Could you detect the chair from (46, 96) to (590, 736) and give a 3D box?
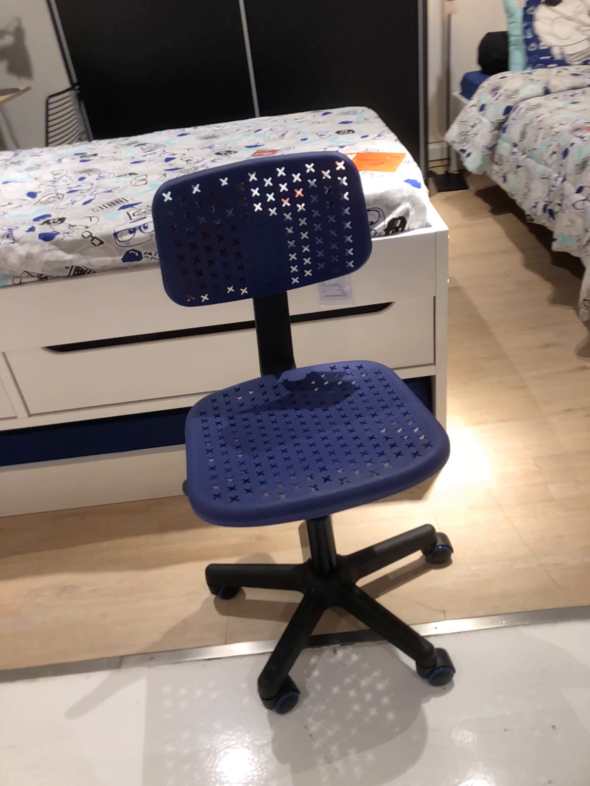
[{"bbox_3d":[0.058,0.036,1.056,0.550,0.814,0.524,-9,33,-1],"label":"chair"}]
